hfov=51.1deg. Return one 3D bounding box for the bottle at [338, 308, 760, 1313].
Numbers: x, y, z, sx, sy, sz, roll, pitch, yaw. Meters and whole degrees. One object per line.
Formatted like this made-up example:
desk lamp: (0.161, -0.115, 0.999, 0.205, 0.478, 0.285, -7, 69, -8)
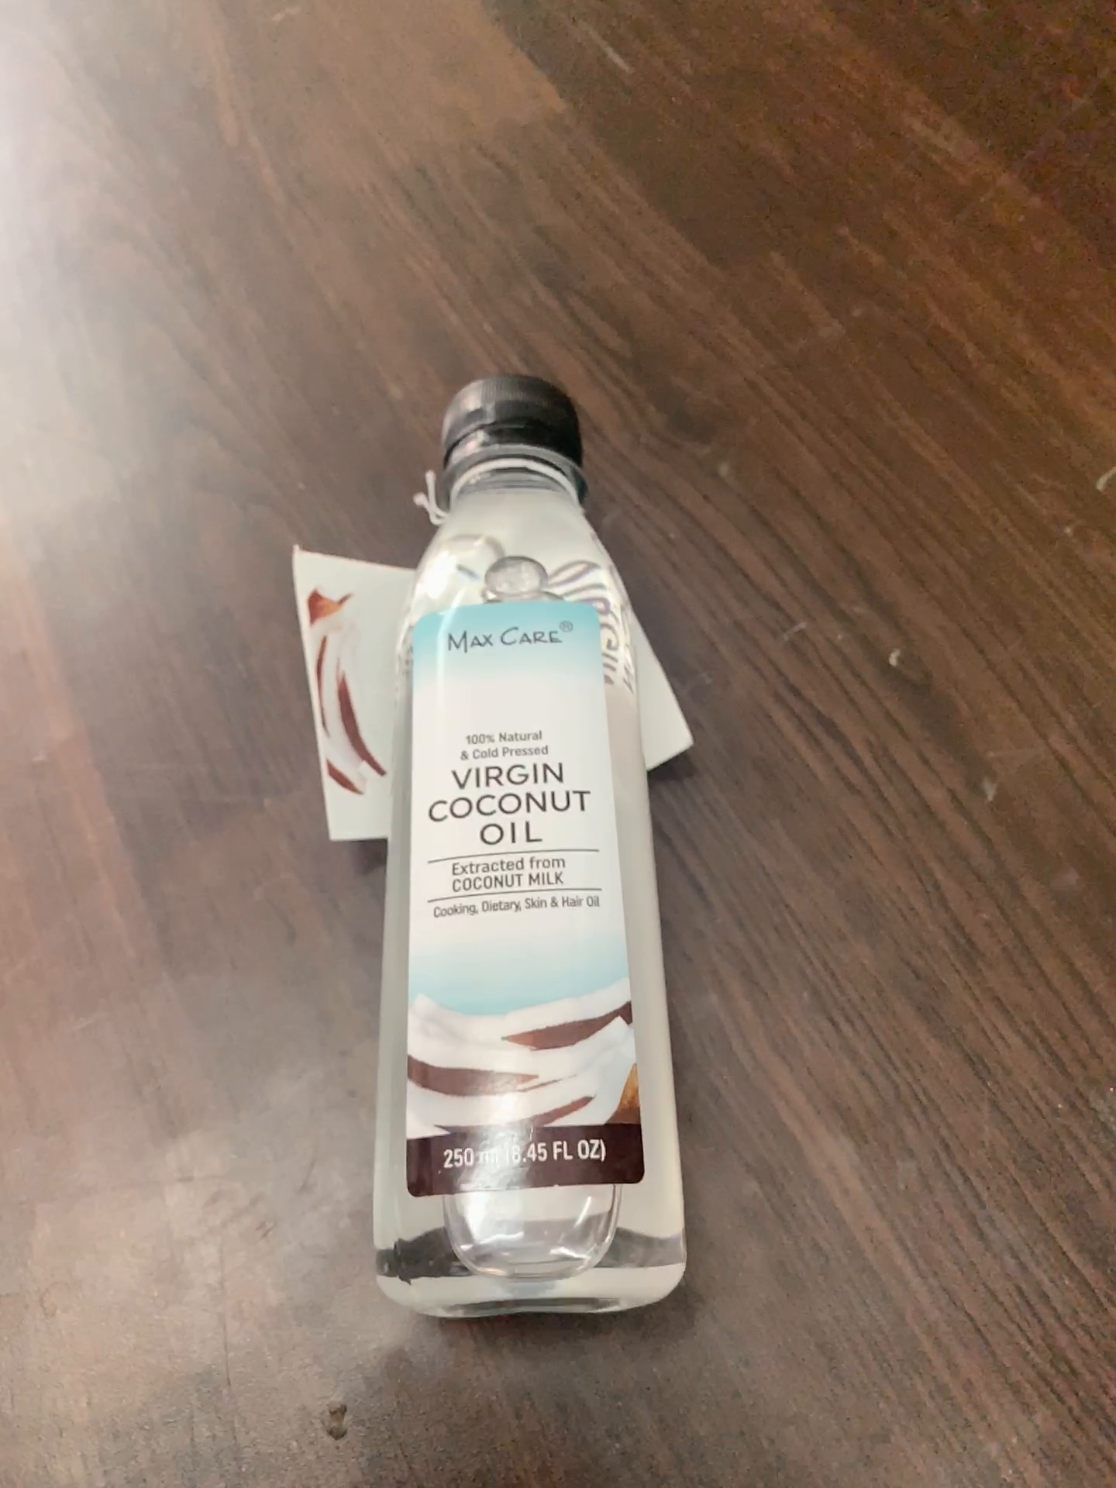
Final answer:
bottle: (-0.003, 0.002, 0.204, 0.050, 0.050, 0.170, -2, 59, 0)
